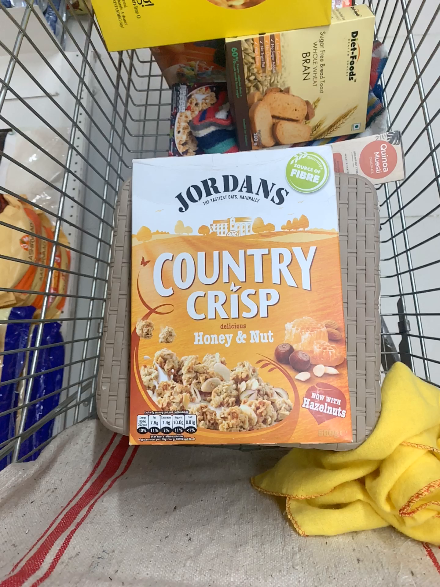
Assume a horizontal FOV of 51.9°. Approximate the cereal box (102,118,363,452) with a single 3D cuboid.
[{"bbox_3d":[0.008,-0.005,0.392,0.190,0.080,0.260,-2,79,4],"label":"cereal box"}]
